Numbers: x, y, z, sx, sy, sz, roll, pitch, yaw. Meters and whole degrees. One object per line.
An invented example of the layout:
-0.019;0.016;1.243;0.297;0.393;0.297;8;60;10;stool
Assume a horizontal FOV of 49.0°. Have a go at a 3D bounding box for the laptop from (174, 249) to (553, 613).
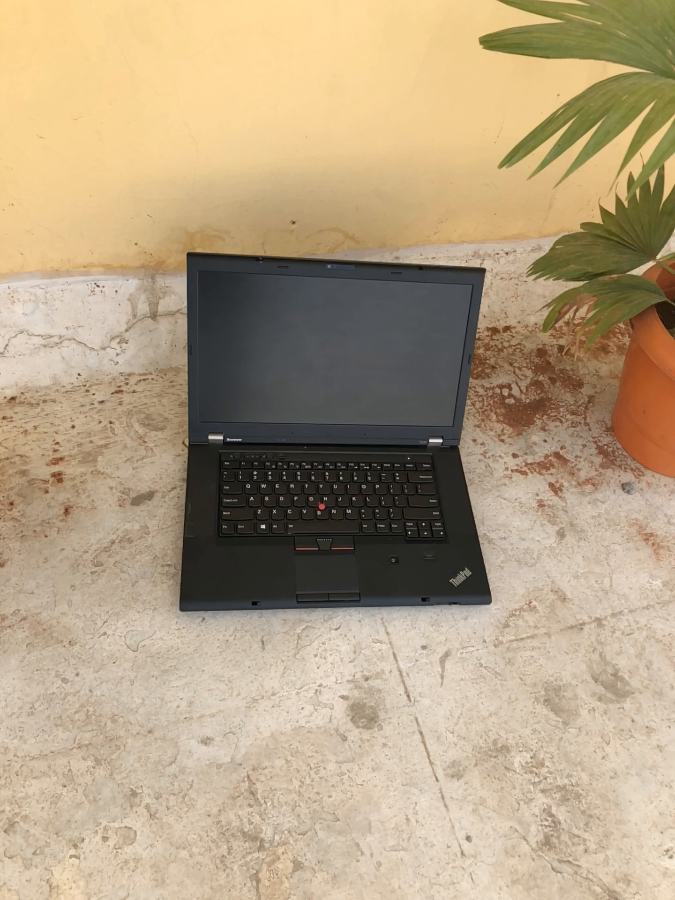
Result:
0.008;-0.025;0.874;0.360;0.208;0.353;1;54;-8;laptop
